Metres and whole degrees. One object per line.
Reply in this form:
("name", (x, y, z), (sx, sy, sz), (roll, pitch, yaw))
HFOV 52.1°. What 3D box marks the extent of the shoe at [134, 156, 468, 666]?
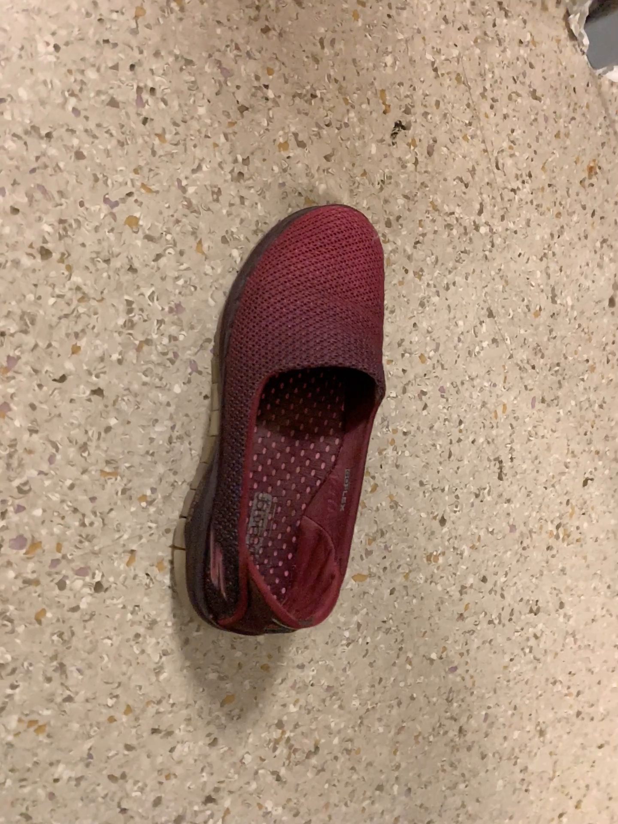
("shoe", (-0.004, 0.001, 0.343), (0.092, 0.091, 0.229), (20, 81, -30))
